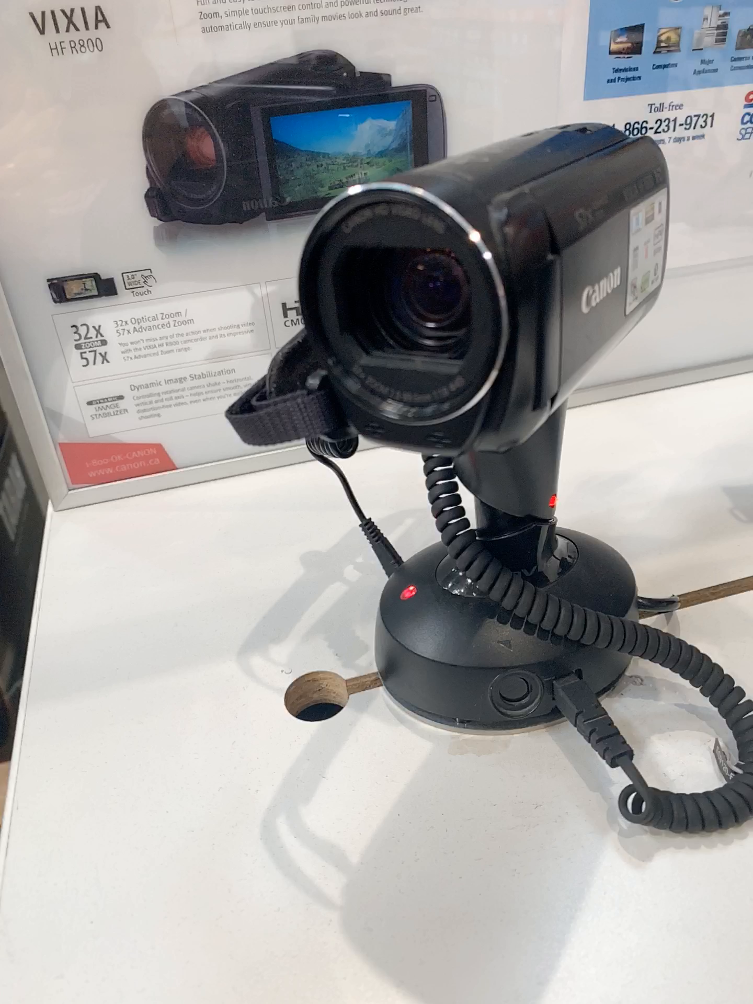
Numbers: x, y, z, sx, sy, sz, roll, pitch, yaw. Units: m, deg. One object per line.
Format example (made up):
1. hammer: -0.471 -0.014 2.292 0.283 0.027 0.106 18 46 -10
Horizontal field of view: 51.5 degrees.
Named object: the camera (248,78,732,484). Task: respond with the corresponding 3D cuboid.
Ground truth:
1. camera: 0.033 -0.060 0.176 0.058 0.054 0.114 15 36 28
